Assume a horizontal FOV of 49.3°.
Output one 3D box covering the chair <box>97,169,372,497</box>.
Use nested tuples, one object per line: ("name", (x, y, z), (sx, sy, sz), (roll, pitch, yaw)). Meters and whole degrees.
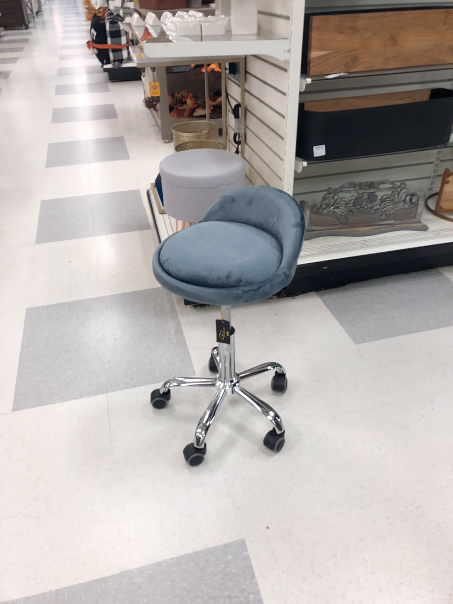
("chair", (0.012, 0.052, 1.375), (0.484, 0.629, 0.476), (-22, 39, -27))
